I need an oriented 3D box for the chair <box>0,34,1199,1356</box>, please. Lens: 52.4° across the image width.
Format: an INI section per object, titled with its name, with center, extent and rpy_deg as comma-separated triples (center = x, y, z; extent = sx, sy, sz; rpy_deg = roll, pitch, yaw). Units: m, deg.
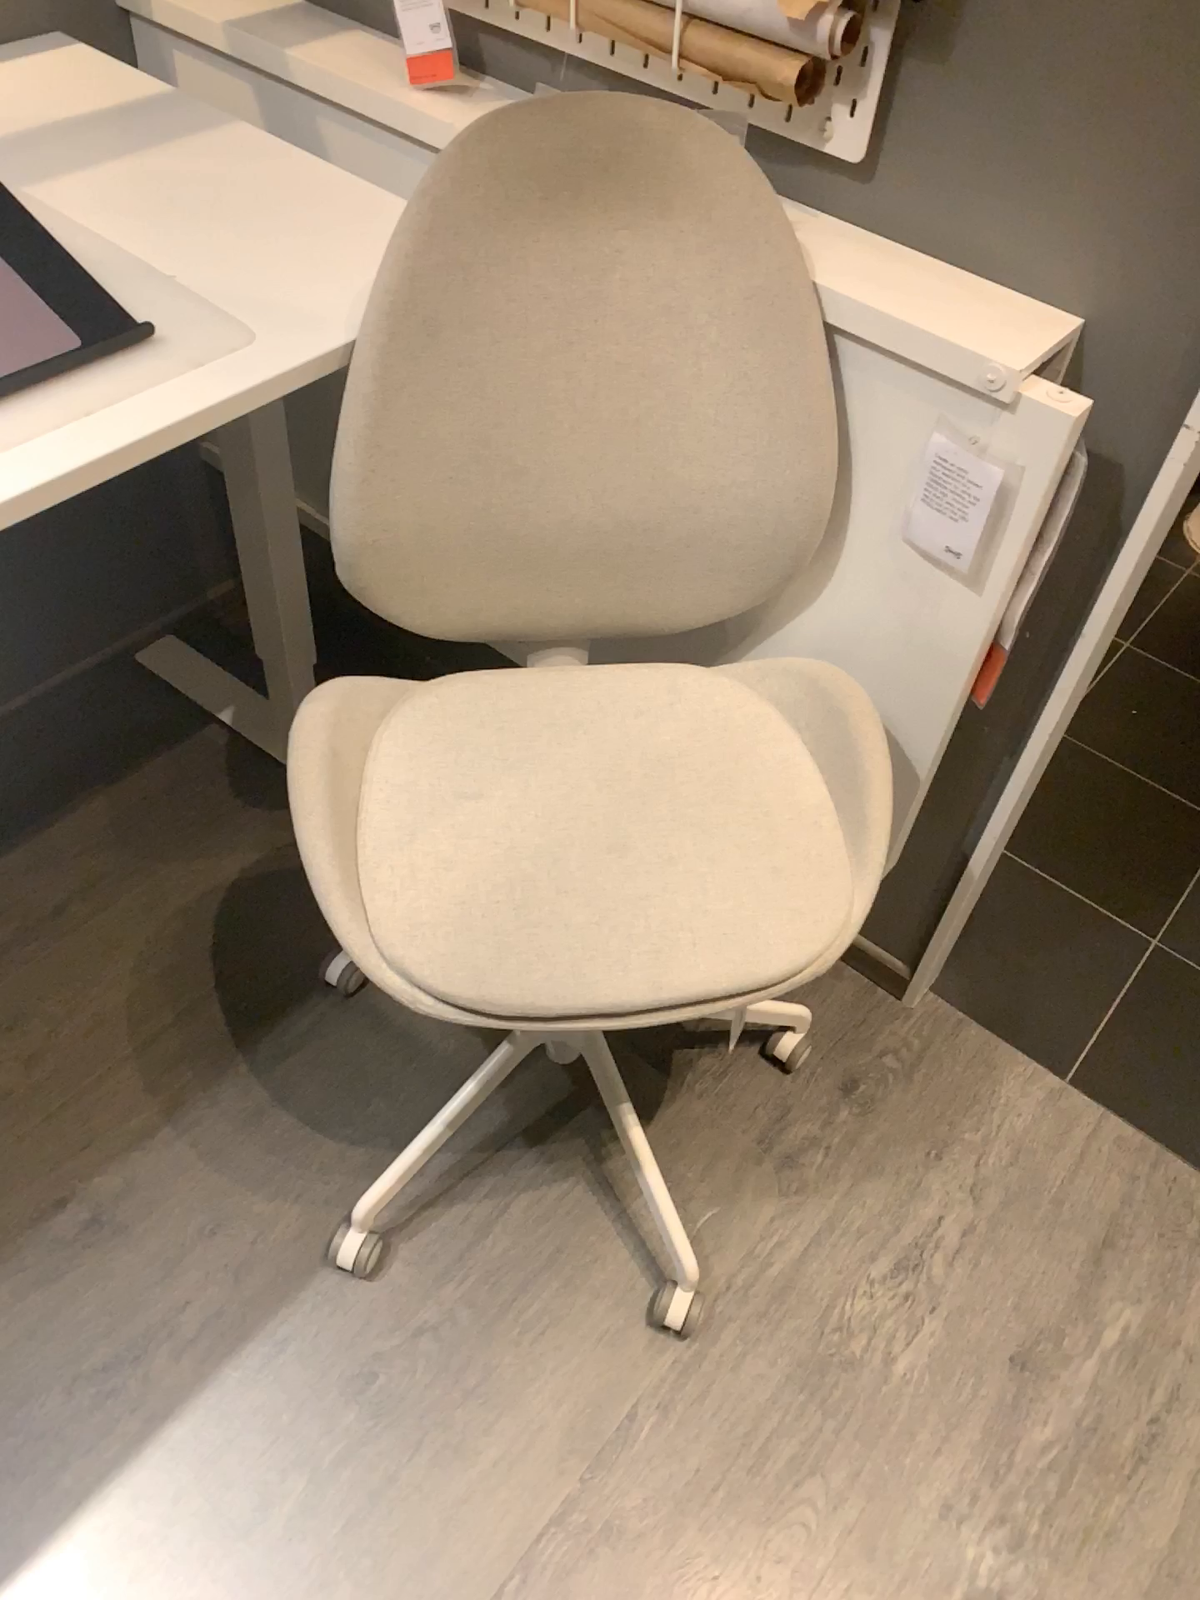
[chair]
center = 0.013, 0.005, 1.030
extent = 0.610, 0.937, 0.592
rpy_deg = 2, 48, -4
